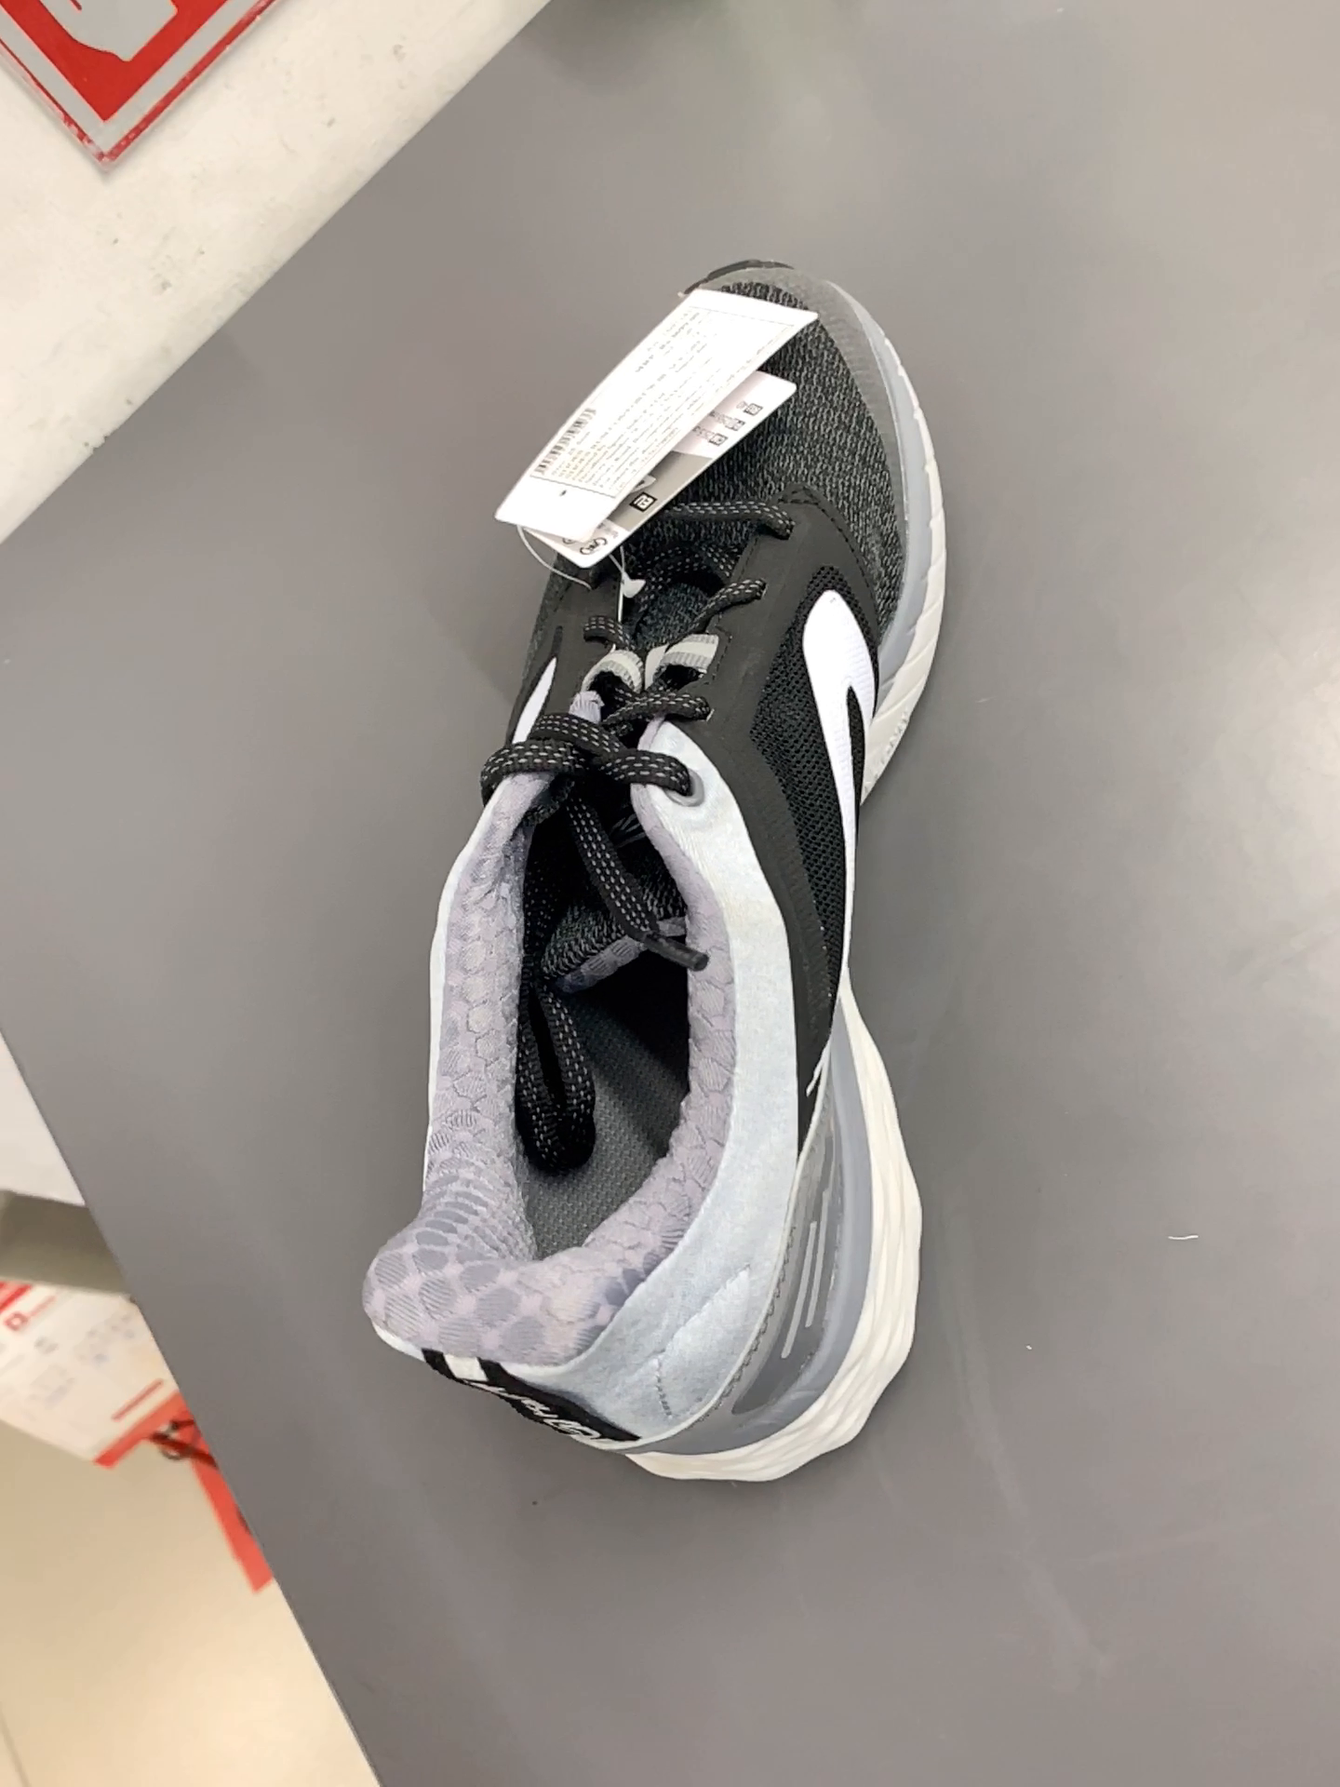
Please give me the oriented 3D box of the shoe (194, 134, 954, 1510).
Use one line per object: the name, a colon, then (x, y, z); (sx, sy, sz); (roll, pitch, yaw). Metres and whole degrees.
shoe: (-0.007, -0.012, 0.278); (0.100, 0.090, 0.240); (-7, 68, 21)
